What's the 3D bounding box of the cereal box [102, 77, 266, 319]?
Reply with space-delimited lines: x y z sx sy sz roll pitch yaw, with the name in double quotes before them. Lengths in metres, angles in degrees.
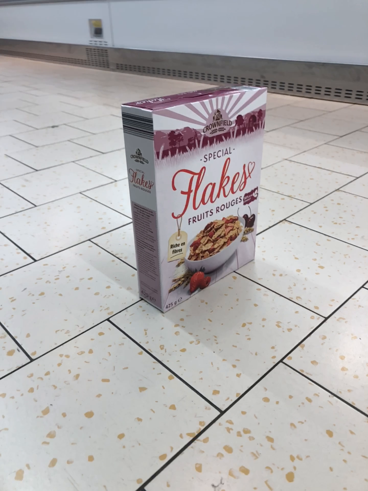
"cereal box" 0.012 -0.066 0.525 0.201 0.258 0.060 -25 37 -36
